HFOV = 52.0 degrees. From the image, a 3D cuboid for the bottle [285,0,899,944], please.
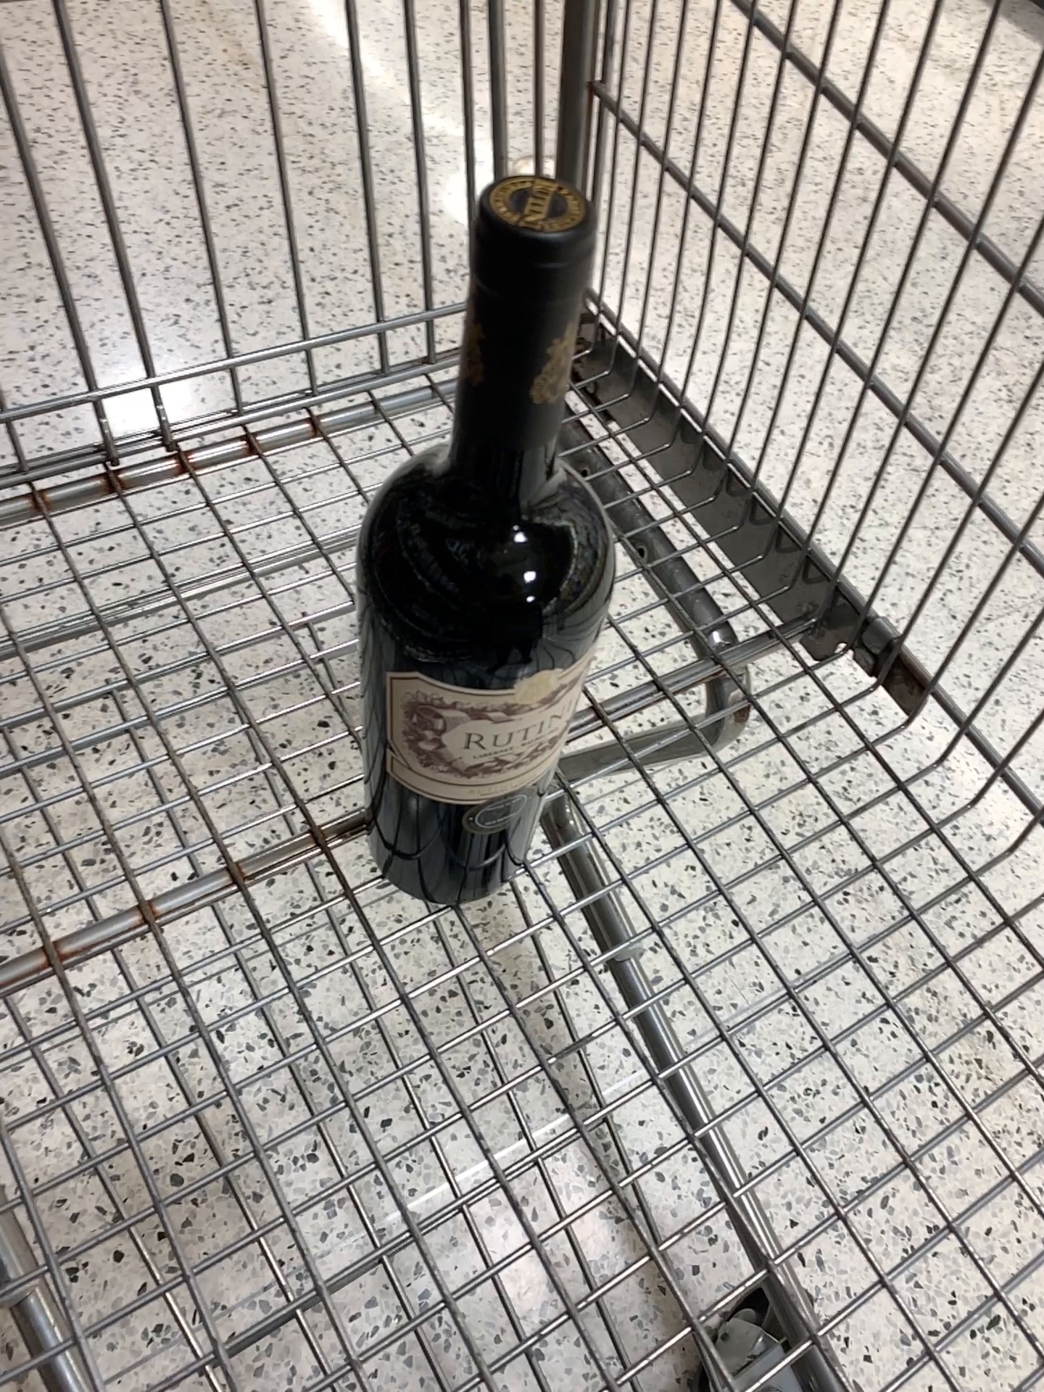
[{"bbox_3d":[-0.009,-0.037,0.344,0.090,0.297,0.100,-23,63,-24],"label":"bottle"}]
